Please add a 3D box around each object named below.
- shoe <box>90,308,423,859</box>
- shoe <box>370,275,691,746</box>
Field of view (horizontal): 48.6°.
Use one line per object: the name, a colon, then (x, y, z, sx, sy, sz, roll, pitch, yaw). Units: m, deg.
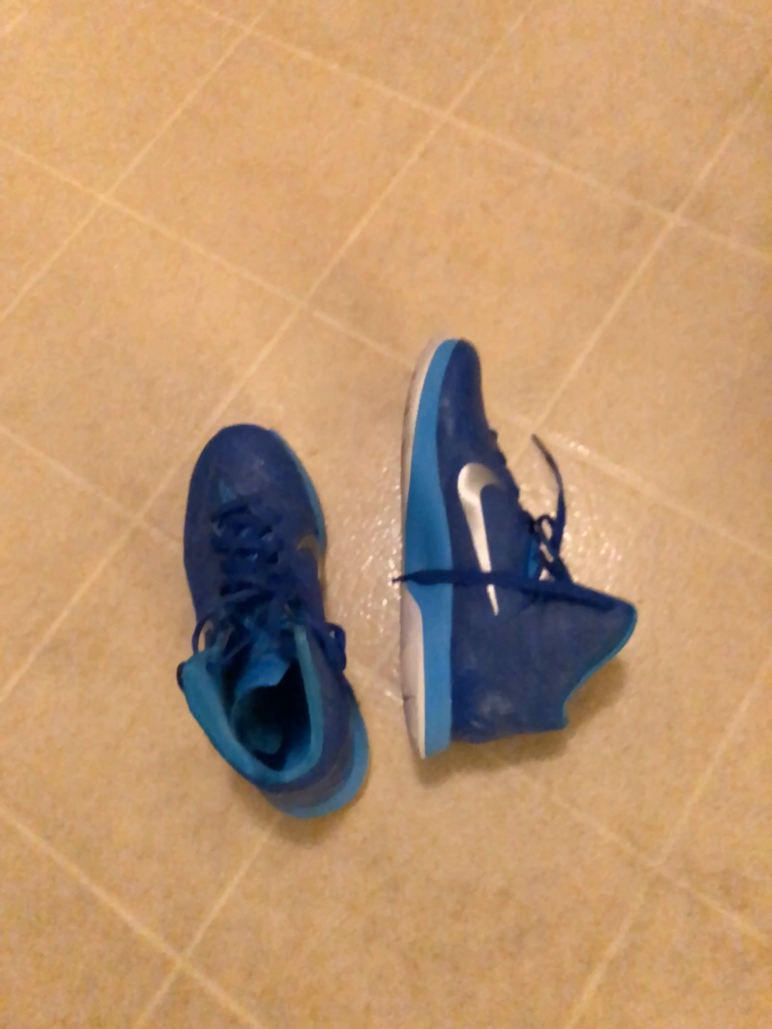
shoe: (-0.083, 0.047, 0.569, 0.120, 0.144, 0.311, -18, 70, 0)
shoe: (0.079, 0.000, 0.571, 0.159, 0.120, 0.282, -4, 71, 0)
